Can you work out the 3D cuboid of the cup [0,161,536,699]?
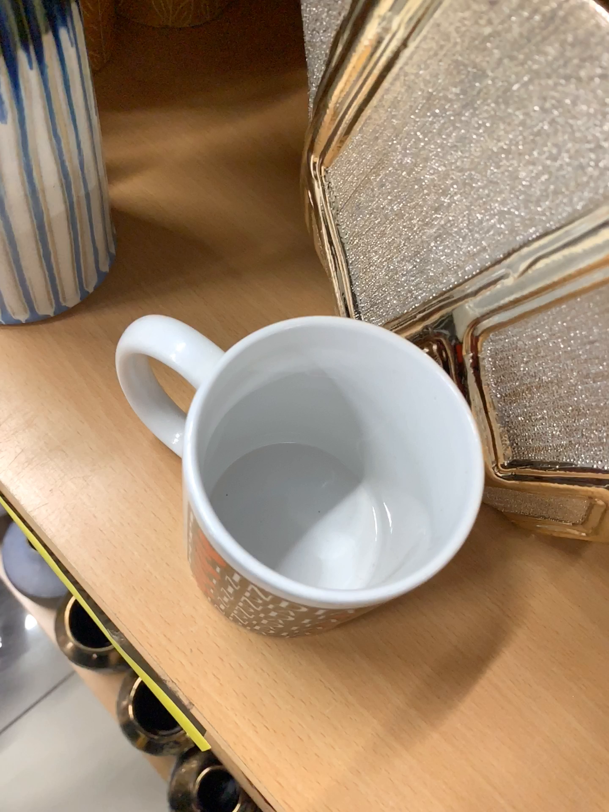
[{"bbox_3d":[-0.020,0.013,0.202,0.130,0.090,0.090,32,62,5],"label":"cup"}]
